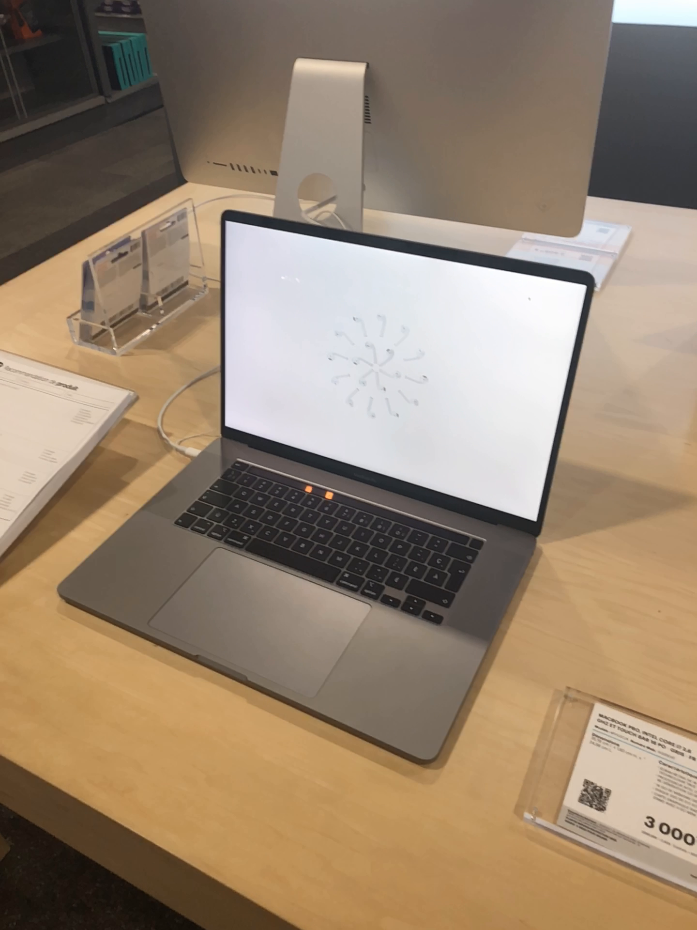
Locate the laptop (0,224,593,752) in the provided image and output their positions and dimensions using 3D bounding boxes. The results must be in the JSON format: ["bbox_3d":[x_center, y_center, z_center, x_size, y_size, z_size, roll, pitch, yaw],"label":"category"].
[{"bbox_3d":[-0.031,-0.014,0.621,0.344,0.227,0.292,16,42,23],"label":"laptop"}]
